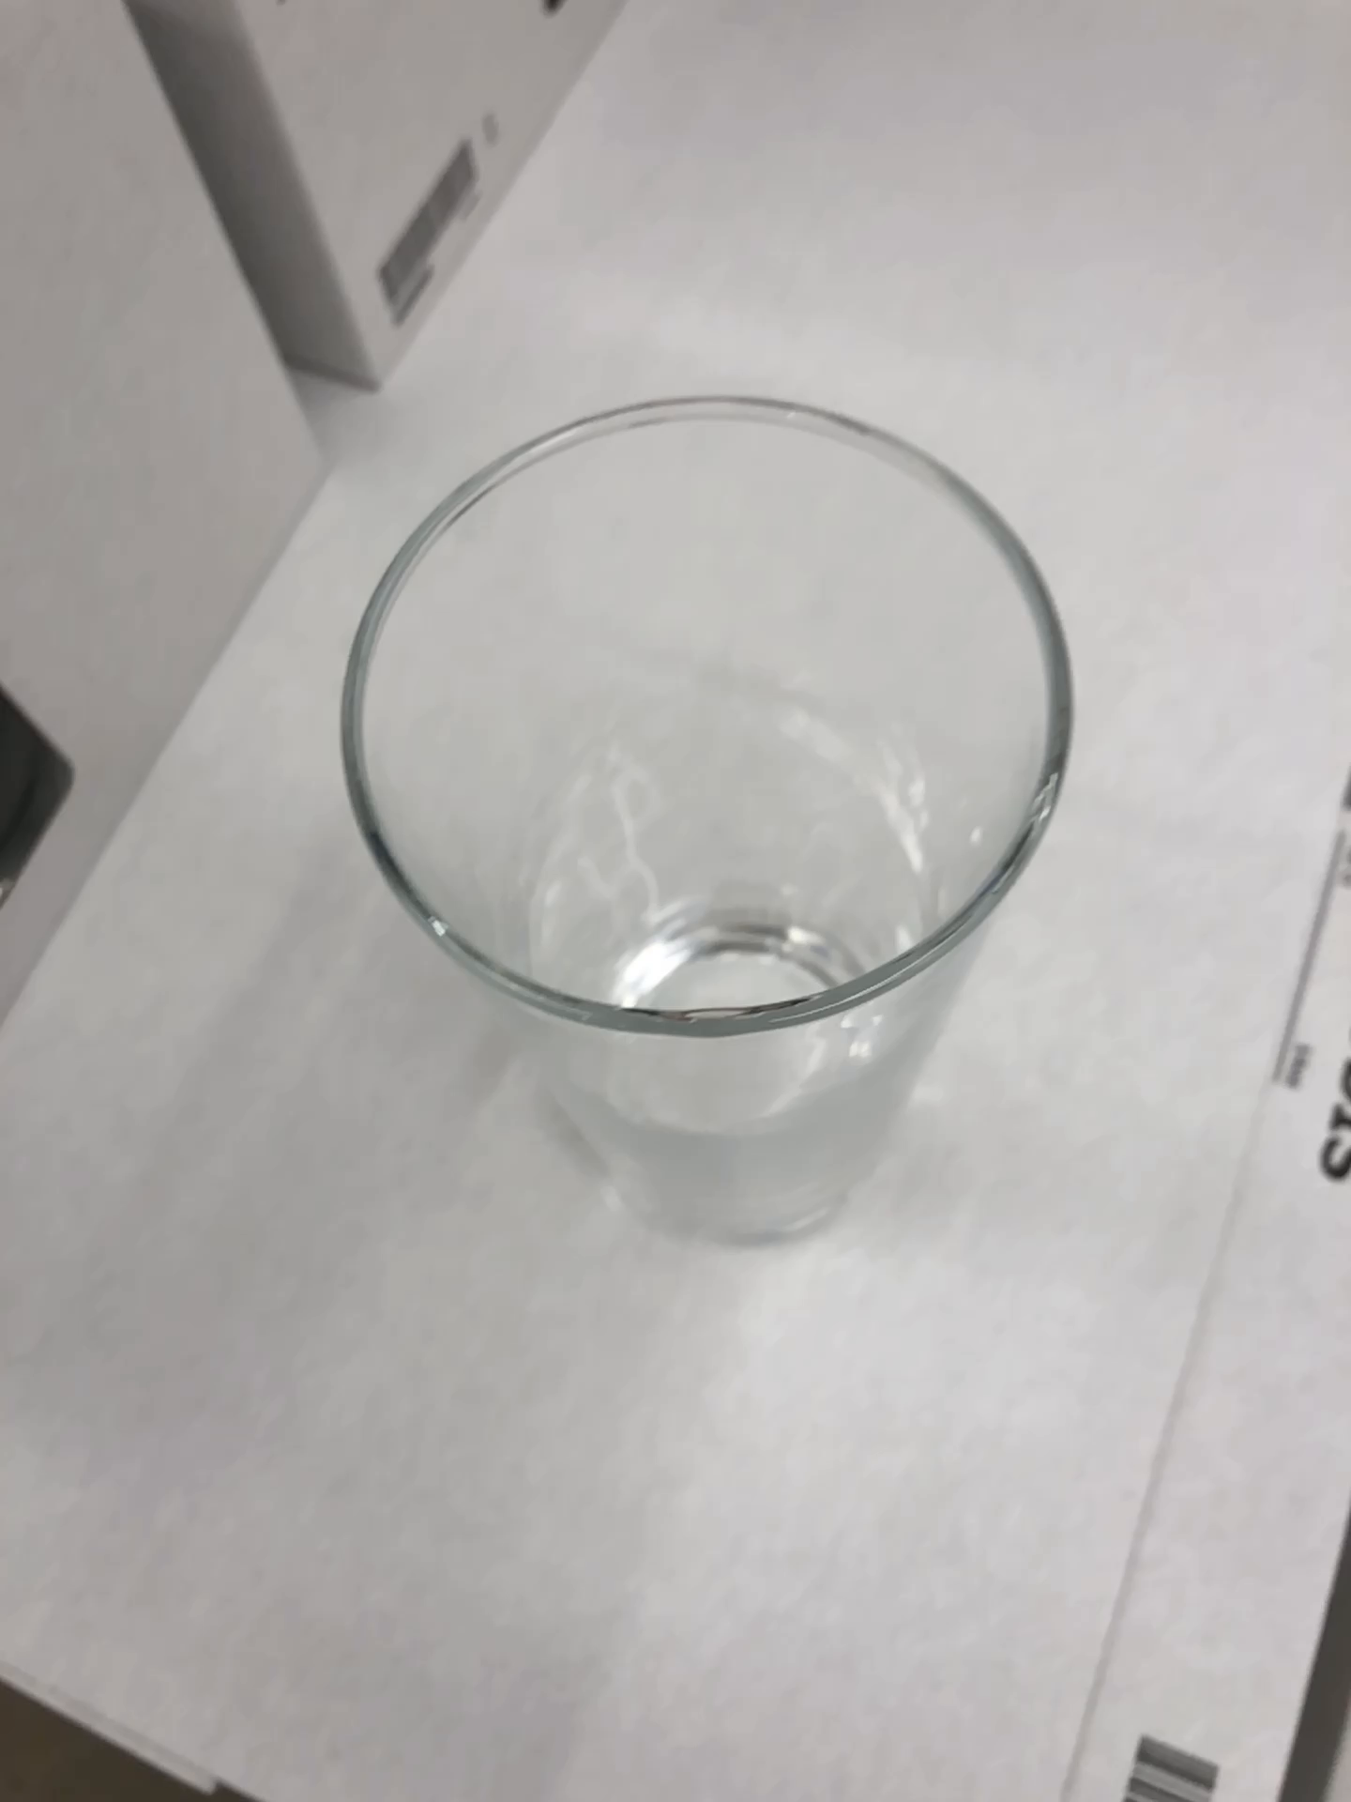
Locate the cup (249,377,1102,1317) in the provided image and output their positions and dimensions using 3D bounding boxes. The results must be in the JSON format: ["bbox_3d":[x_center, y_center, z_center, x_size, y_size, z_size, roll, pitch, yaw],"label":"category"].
[{"bbox_3d":[0.002,0.008,0.223,0.080,0.140,0.080,-2,67,4],"label":"cup"}]
